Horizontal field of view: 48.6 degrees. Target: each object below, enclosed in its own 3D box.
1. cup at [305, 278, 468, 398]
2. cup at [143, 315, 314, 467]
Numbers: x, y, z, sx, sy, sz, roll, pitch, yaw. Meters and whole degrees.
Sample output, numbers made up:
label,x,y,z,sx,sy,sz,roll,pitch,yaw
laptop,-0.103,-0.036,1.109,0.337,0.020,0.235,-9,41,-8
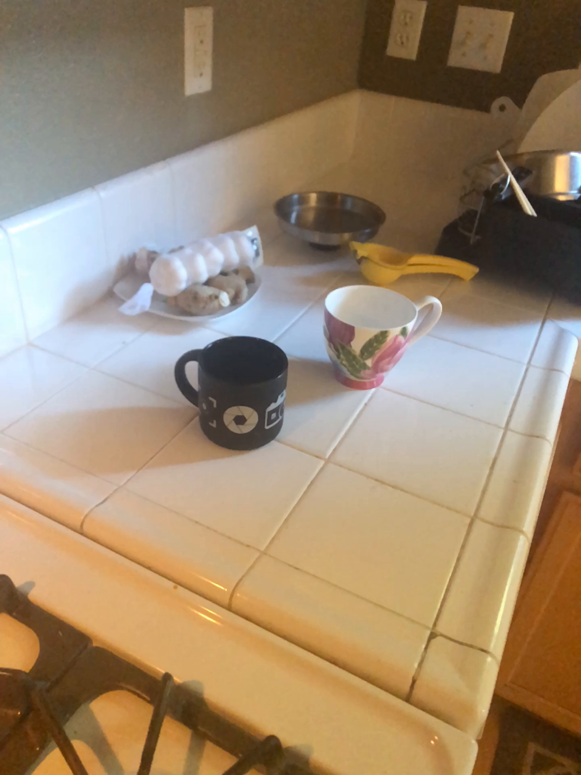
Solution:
label,x,y,z,sx,sy,sz,roll,pitch,yaw
cup,0.108,-0.062,0.761,0.150,0.089,0.101,-7,37,-17
cup,-0.062,0.000,0.663,0.140,0.079,0.101,17,37,15
